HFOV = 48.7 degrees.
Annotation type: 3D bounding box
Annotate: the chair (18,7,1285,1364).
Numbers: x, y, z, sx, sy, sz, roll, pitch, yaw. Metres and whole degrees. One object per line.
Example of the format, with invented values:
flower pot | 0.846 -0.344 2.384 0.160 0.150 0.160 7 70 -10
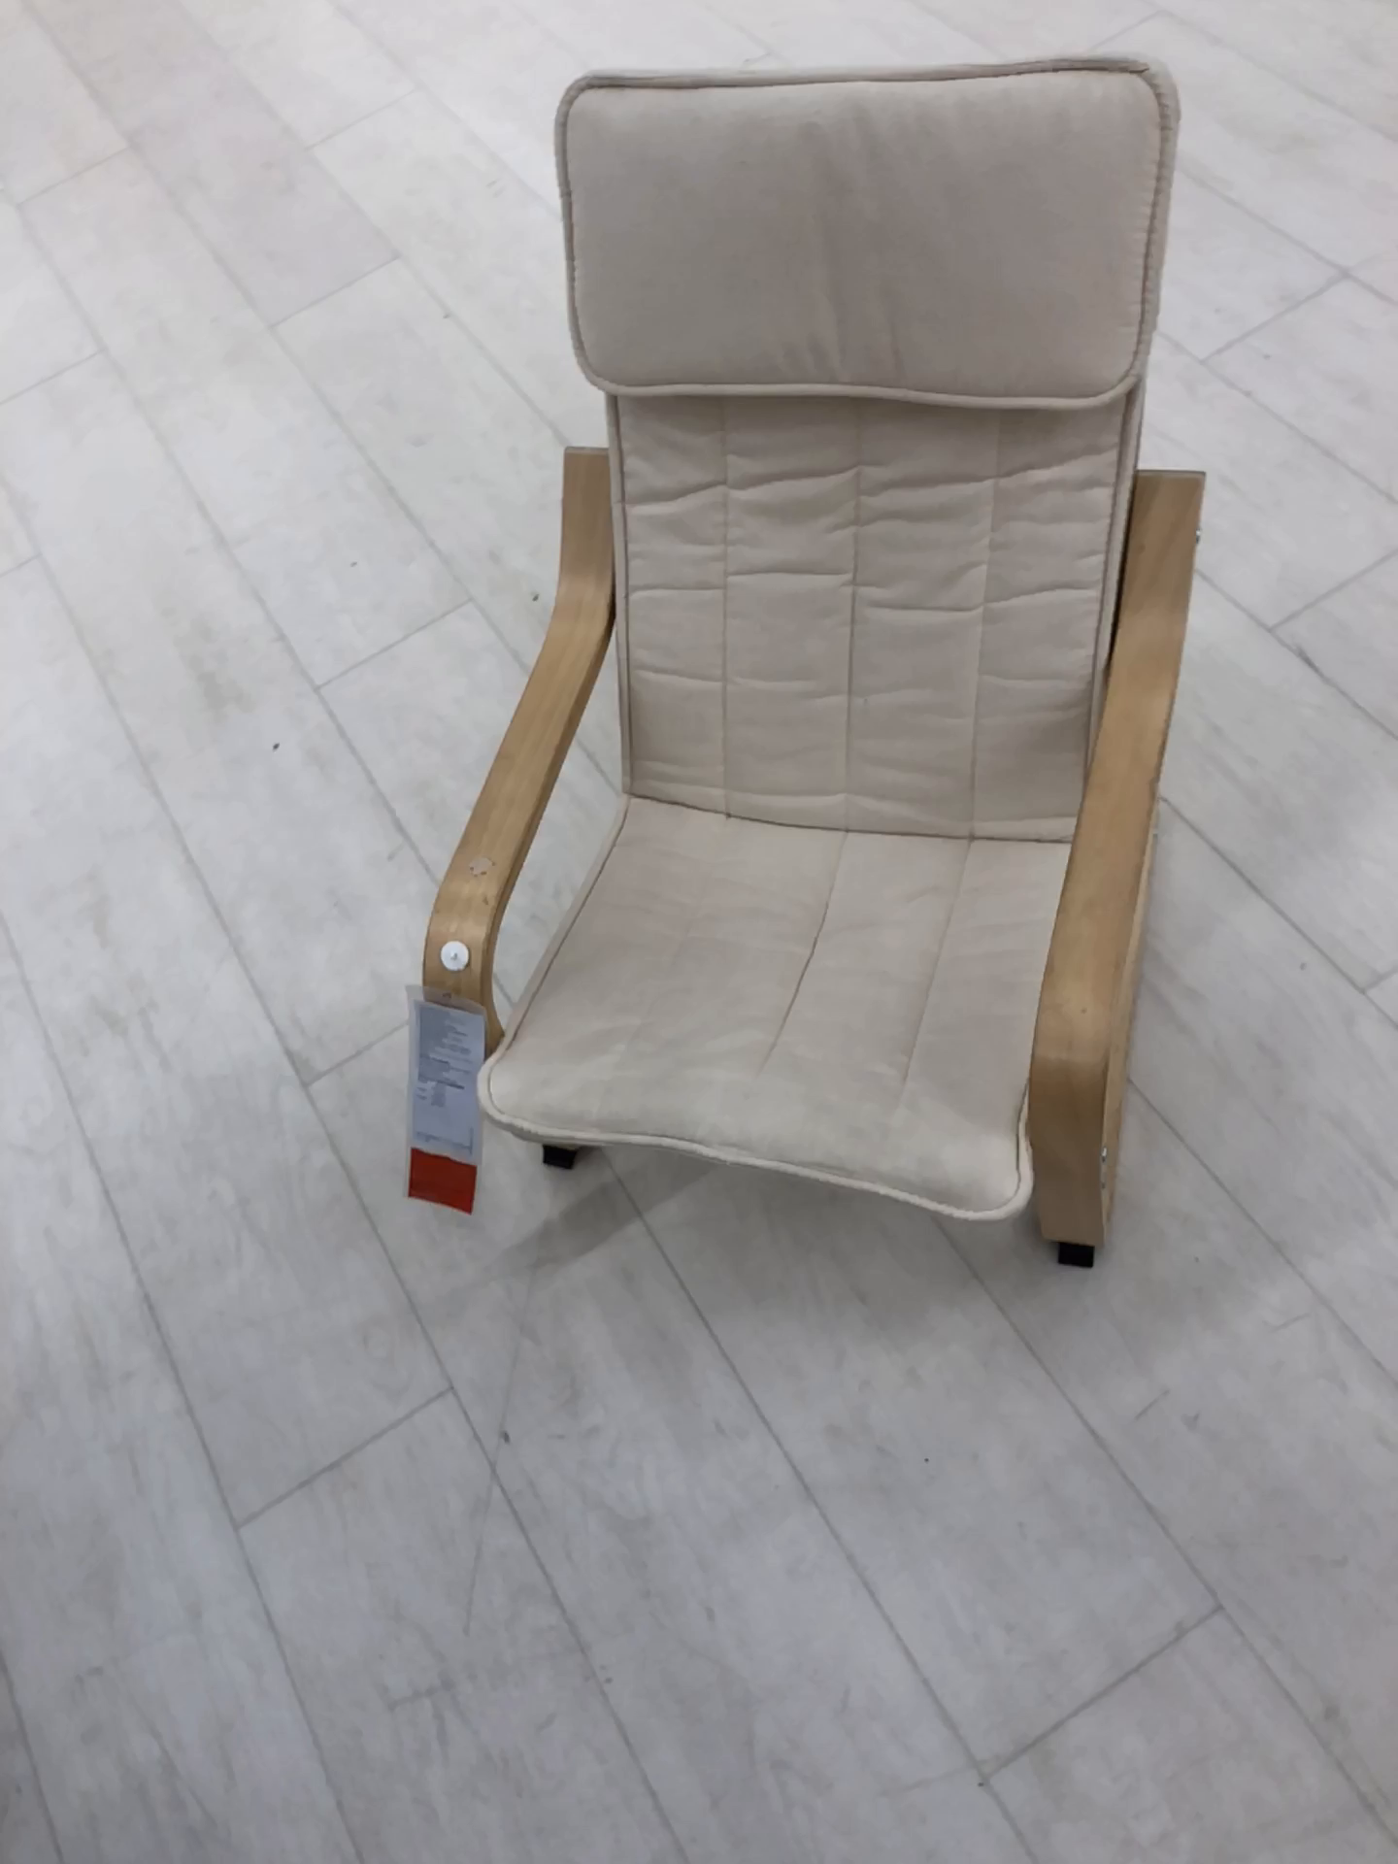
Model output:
chair | 0.062 -0.123 1.077 0.531 0.688 0.561 7 61 17
